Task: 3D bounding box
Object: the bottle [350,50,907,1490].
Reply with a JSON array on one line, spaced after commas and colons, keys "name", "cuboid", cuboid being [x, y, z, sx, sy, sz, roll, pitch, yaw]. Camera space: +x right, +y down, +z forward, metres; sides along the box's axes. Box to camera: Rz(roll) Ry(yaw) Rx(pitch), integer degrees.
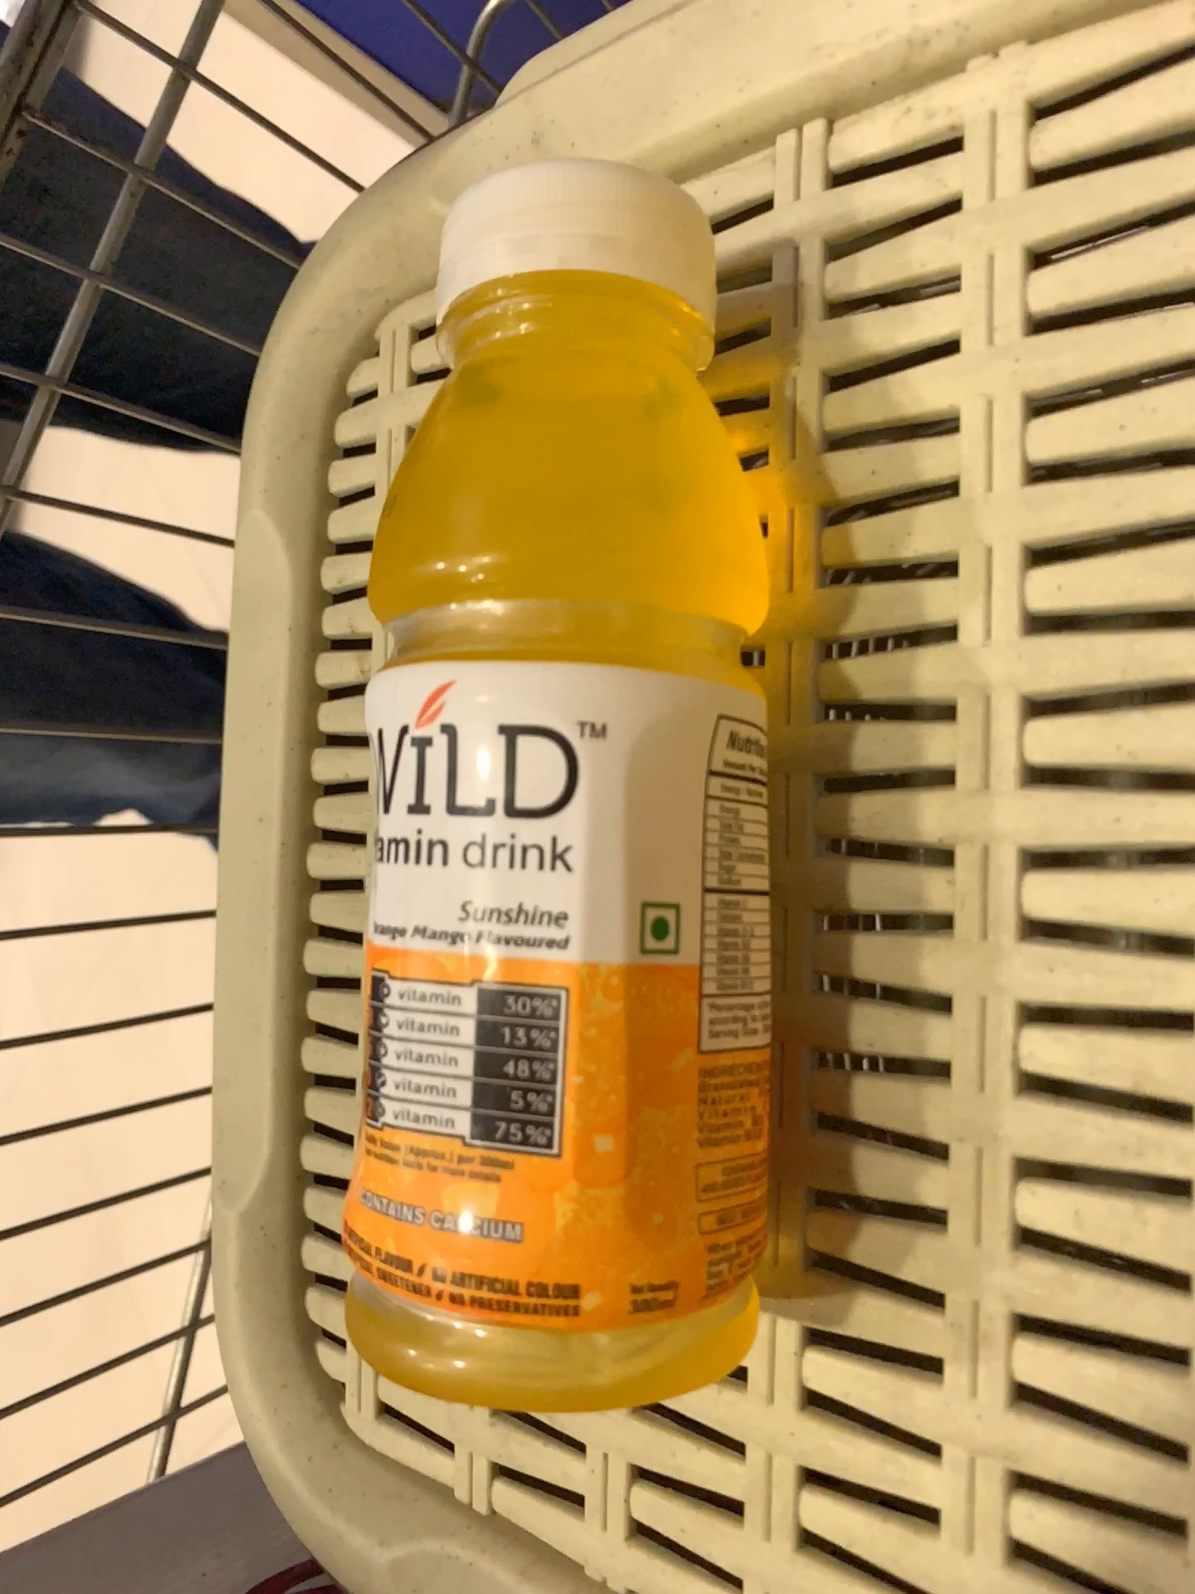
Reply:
[{"name": "bottle", "cuboid": [0.008, -0.004, 0.187, 0.060, 0.060, 0.170, 1, 88, 27]}]
